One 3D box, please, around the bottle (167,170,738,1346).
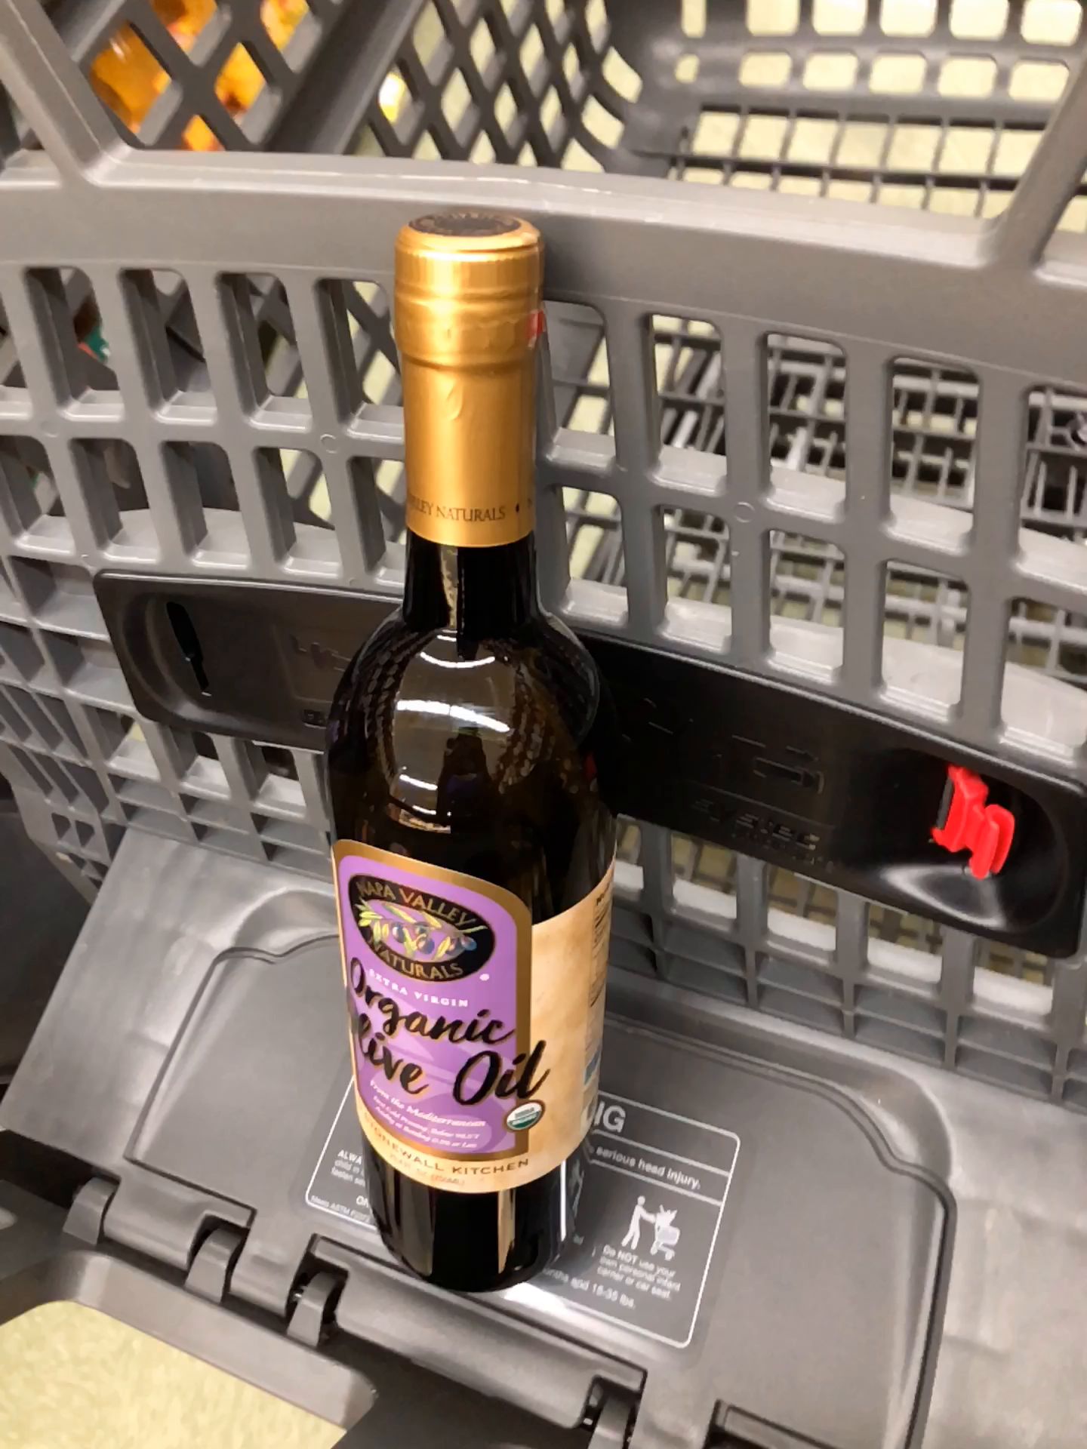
[{"bbox_3d":[-0.018,0.028,0.314,0.080,0.300,0.080,2,34,-1],"label":"bottle"}]
